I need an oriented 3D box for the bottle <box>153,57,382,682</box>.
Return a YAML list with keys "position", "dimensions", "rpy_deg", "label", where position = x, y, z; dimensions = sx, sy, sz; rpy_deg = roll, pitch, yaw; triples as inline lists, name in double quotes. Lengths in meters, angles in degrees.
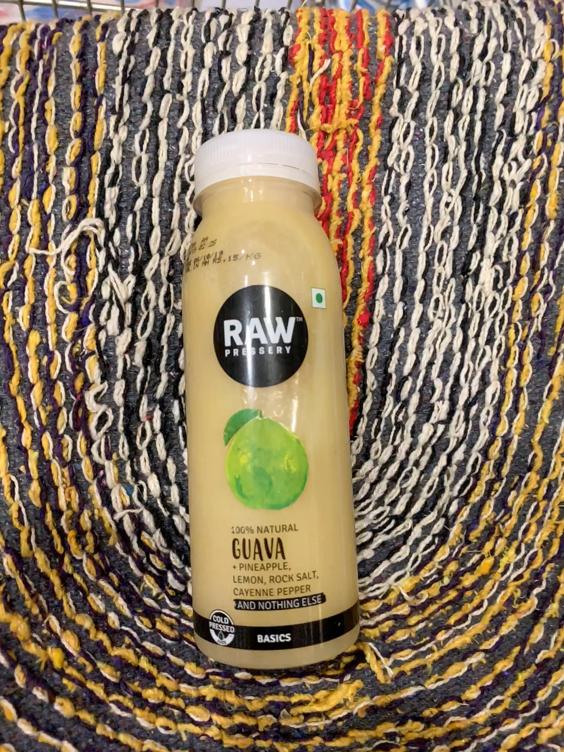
- position: [-0.006, -0.004, 0.171]
  dimensions: [0.050, 0.040, 0.160]
  rpy_deg: [-3, 84, -2]
  label: "bottle"
